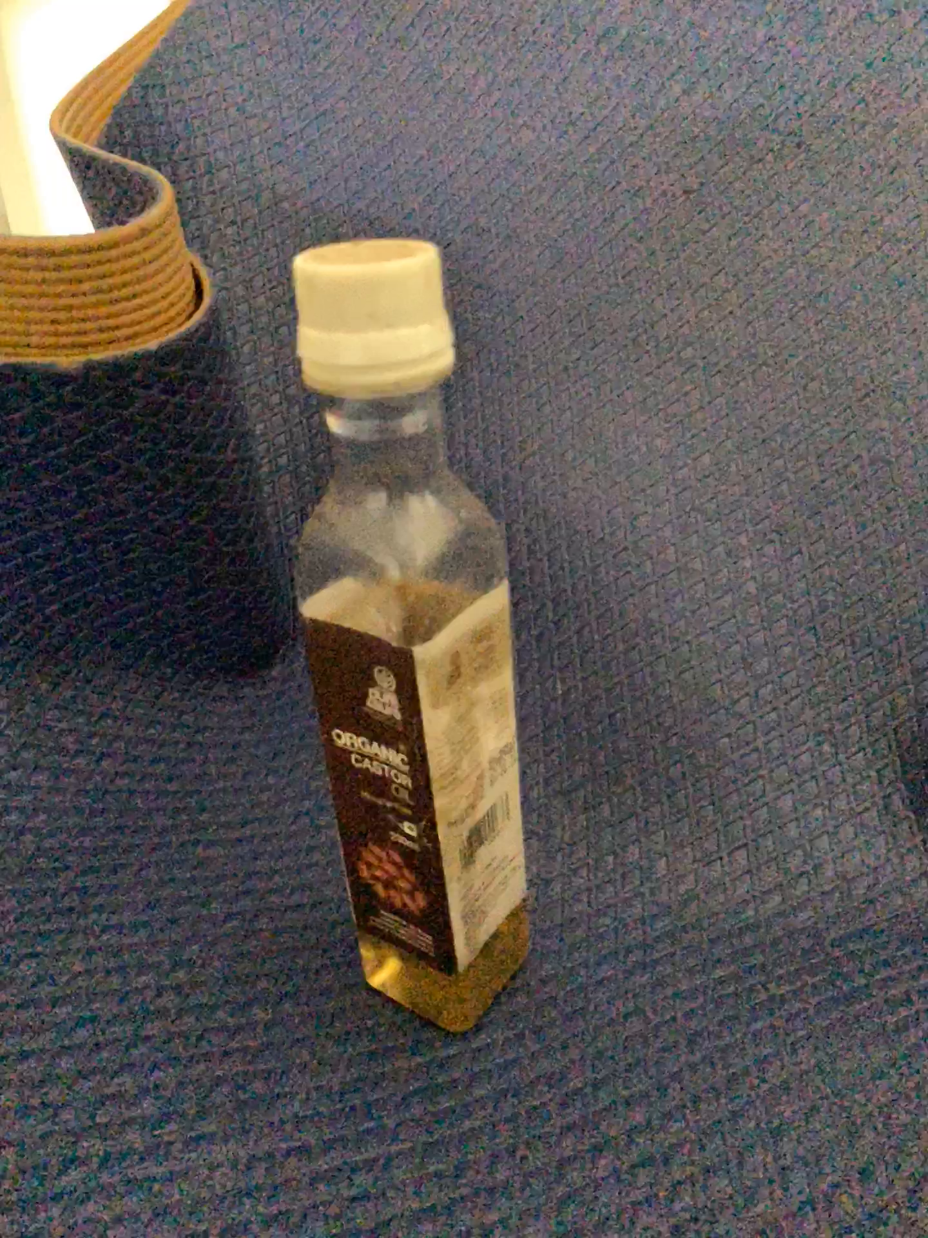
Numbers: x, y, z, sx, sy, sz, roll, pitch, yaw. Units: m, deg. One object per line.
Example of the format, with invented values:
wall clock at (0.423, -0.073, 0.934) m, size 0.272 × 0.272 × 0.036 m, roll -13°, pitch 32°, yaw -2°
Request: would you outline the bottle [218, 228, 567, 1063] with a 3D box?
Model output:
bottle at (-0.010, 0.013, 0.239) m, size 0.050 × 0.198 × 0.050 m, roll -2°, pitch 27°, yaw 1°
